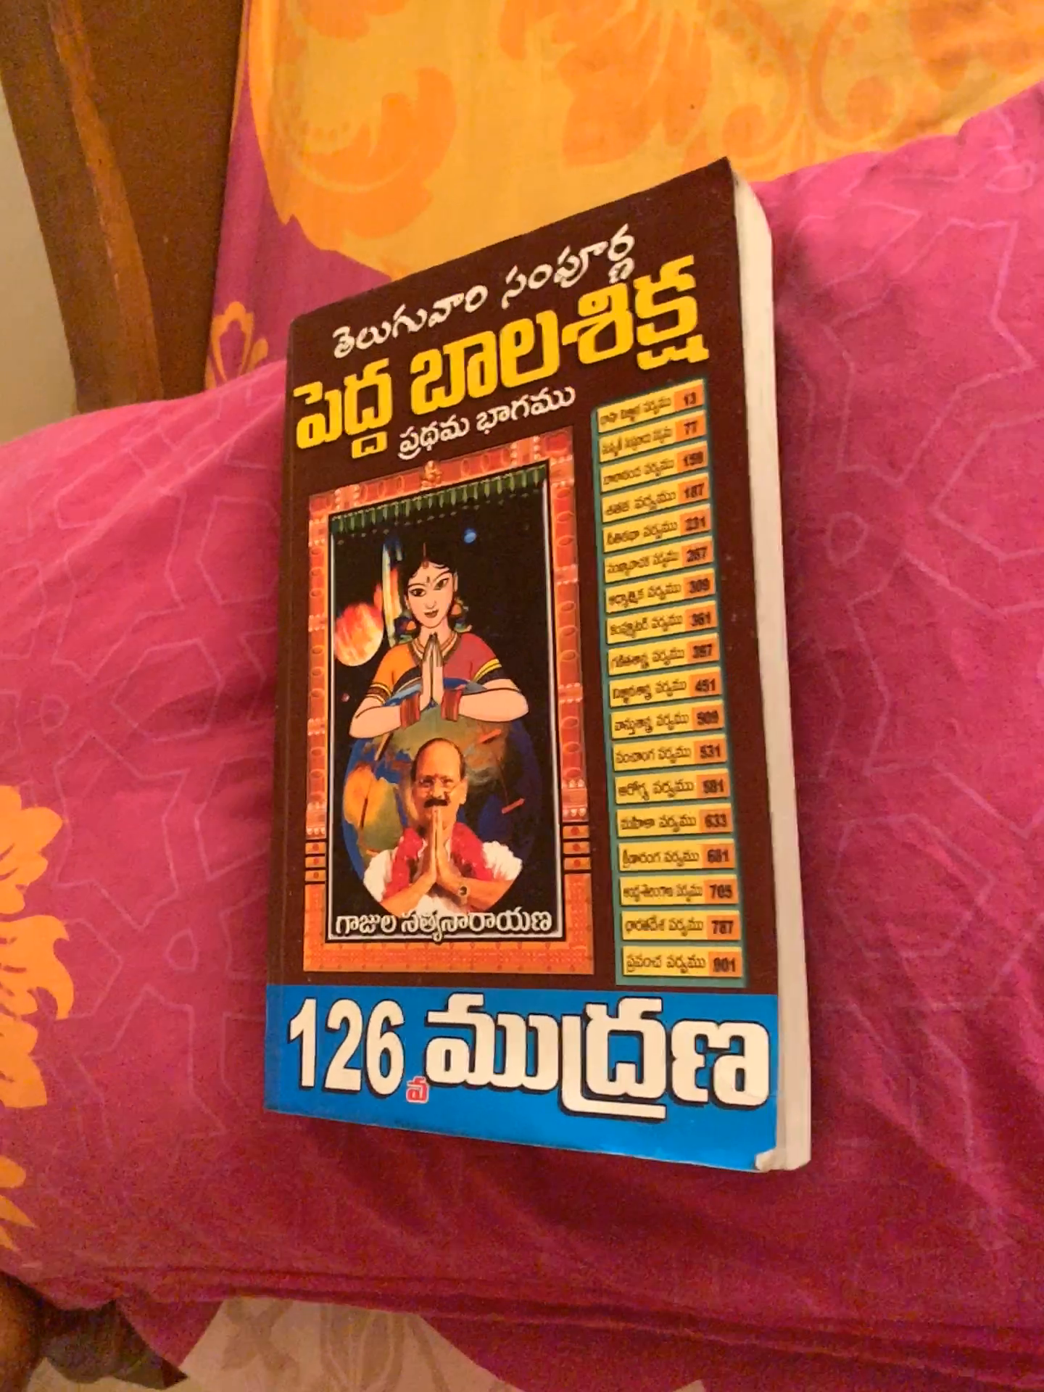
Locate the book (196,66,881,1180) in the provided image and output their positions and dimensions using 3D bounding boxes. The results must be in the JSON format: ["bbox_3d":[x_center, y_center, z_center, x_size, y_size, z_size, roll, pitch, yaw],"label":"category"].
[{"bbox_3d":[-0.004,-0.017,0.311,0.181,0.050,0.260,-7,76,31],"label":"book"}]
